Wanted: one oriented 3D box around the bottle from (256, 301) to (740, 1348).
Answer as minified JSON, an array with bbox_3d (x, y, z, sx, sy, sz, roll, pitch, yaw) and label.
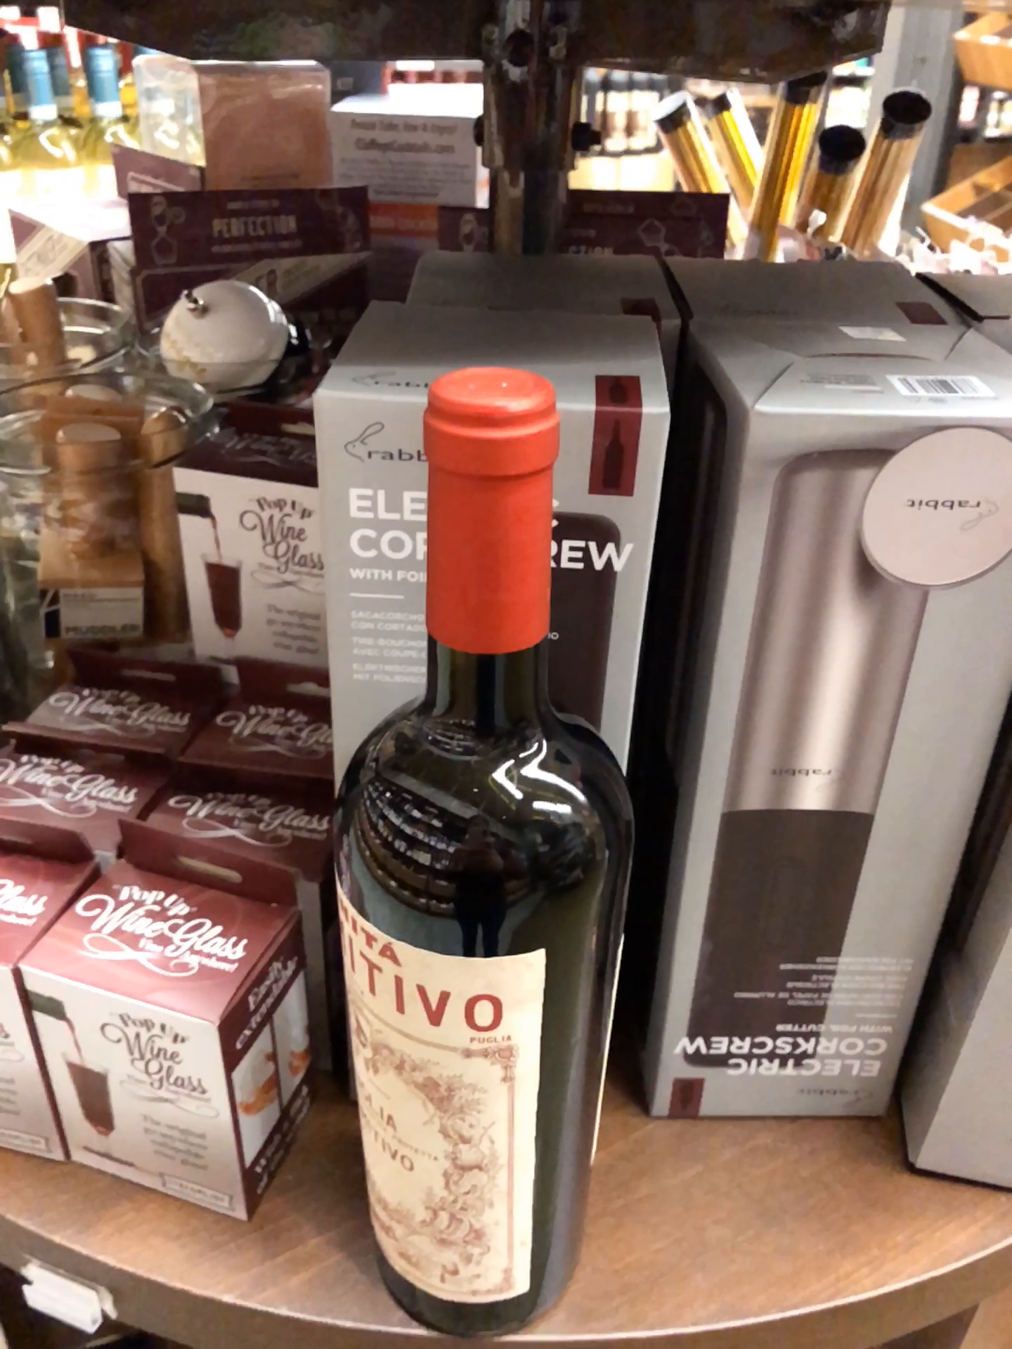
[{"bbox_3d":[-0.004,0.064,0.306,0.071,0.299,0.072,0,31,0],"label":"bottle"}]
